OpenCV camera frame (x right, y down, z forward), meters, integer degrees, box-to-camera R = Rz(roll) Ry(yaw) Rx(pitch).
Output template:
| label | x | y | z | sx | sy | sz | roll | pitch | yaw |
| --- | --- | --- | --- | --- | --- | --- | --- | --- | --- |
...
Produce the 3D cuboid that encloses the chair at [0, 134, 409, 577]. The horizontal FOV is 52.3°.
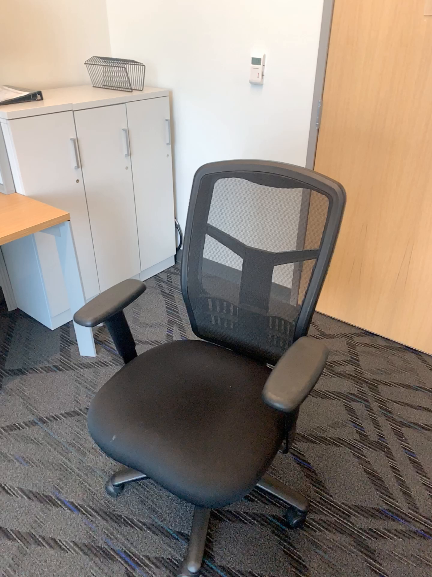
| label | x | y | z | sx | sy | sz | roll | pitch | yaw |
| --- | --- | --- | --- | --- | --- | --- | --- | --- | --- |
| chair | -0.004 | 0.176 | 1.257 | 0.662 | 0.992 | 0.724 | 21 | 36 | 31 |
